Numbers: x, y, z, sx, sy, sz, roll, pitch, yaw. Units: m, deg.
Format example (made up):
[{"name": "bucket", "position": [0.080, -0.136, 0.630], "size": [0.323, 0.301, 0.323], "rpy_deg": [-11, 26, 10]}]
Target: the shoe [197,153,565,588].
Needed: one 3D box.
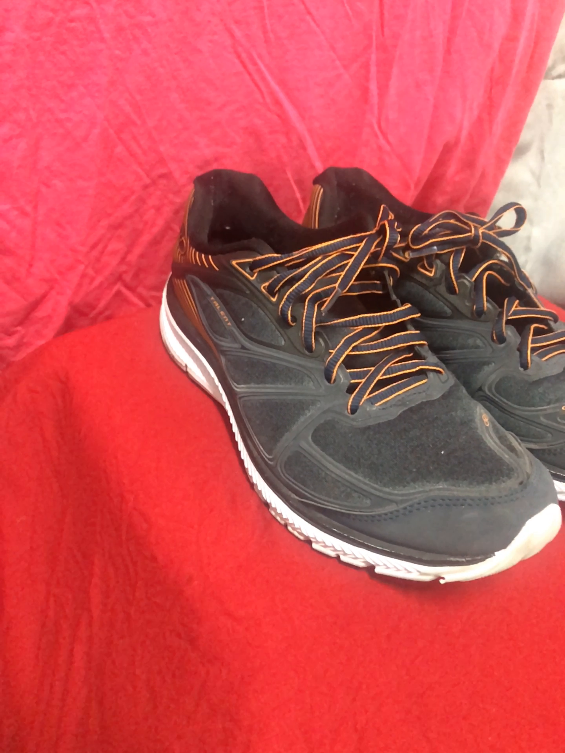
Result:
[{"name": "shoe", "position": [0.074, -0.033, 0.366], "size": [0.110, 0.099, 0.282], "rpy_deg": [-24, 44, -32]}]

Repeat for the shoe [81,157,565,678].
[{"name": "shoe", "position": [0.002, -0.018, 0.317], "size": [0.110, 0.089, 0.282], "rpy_deg": [-18, 42, -26]}]
